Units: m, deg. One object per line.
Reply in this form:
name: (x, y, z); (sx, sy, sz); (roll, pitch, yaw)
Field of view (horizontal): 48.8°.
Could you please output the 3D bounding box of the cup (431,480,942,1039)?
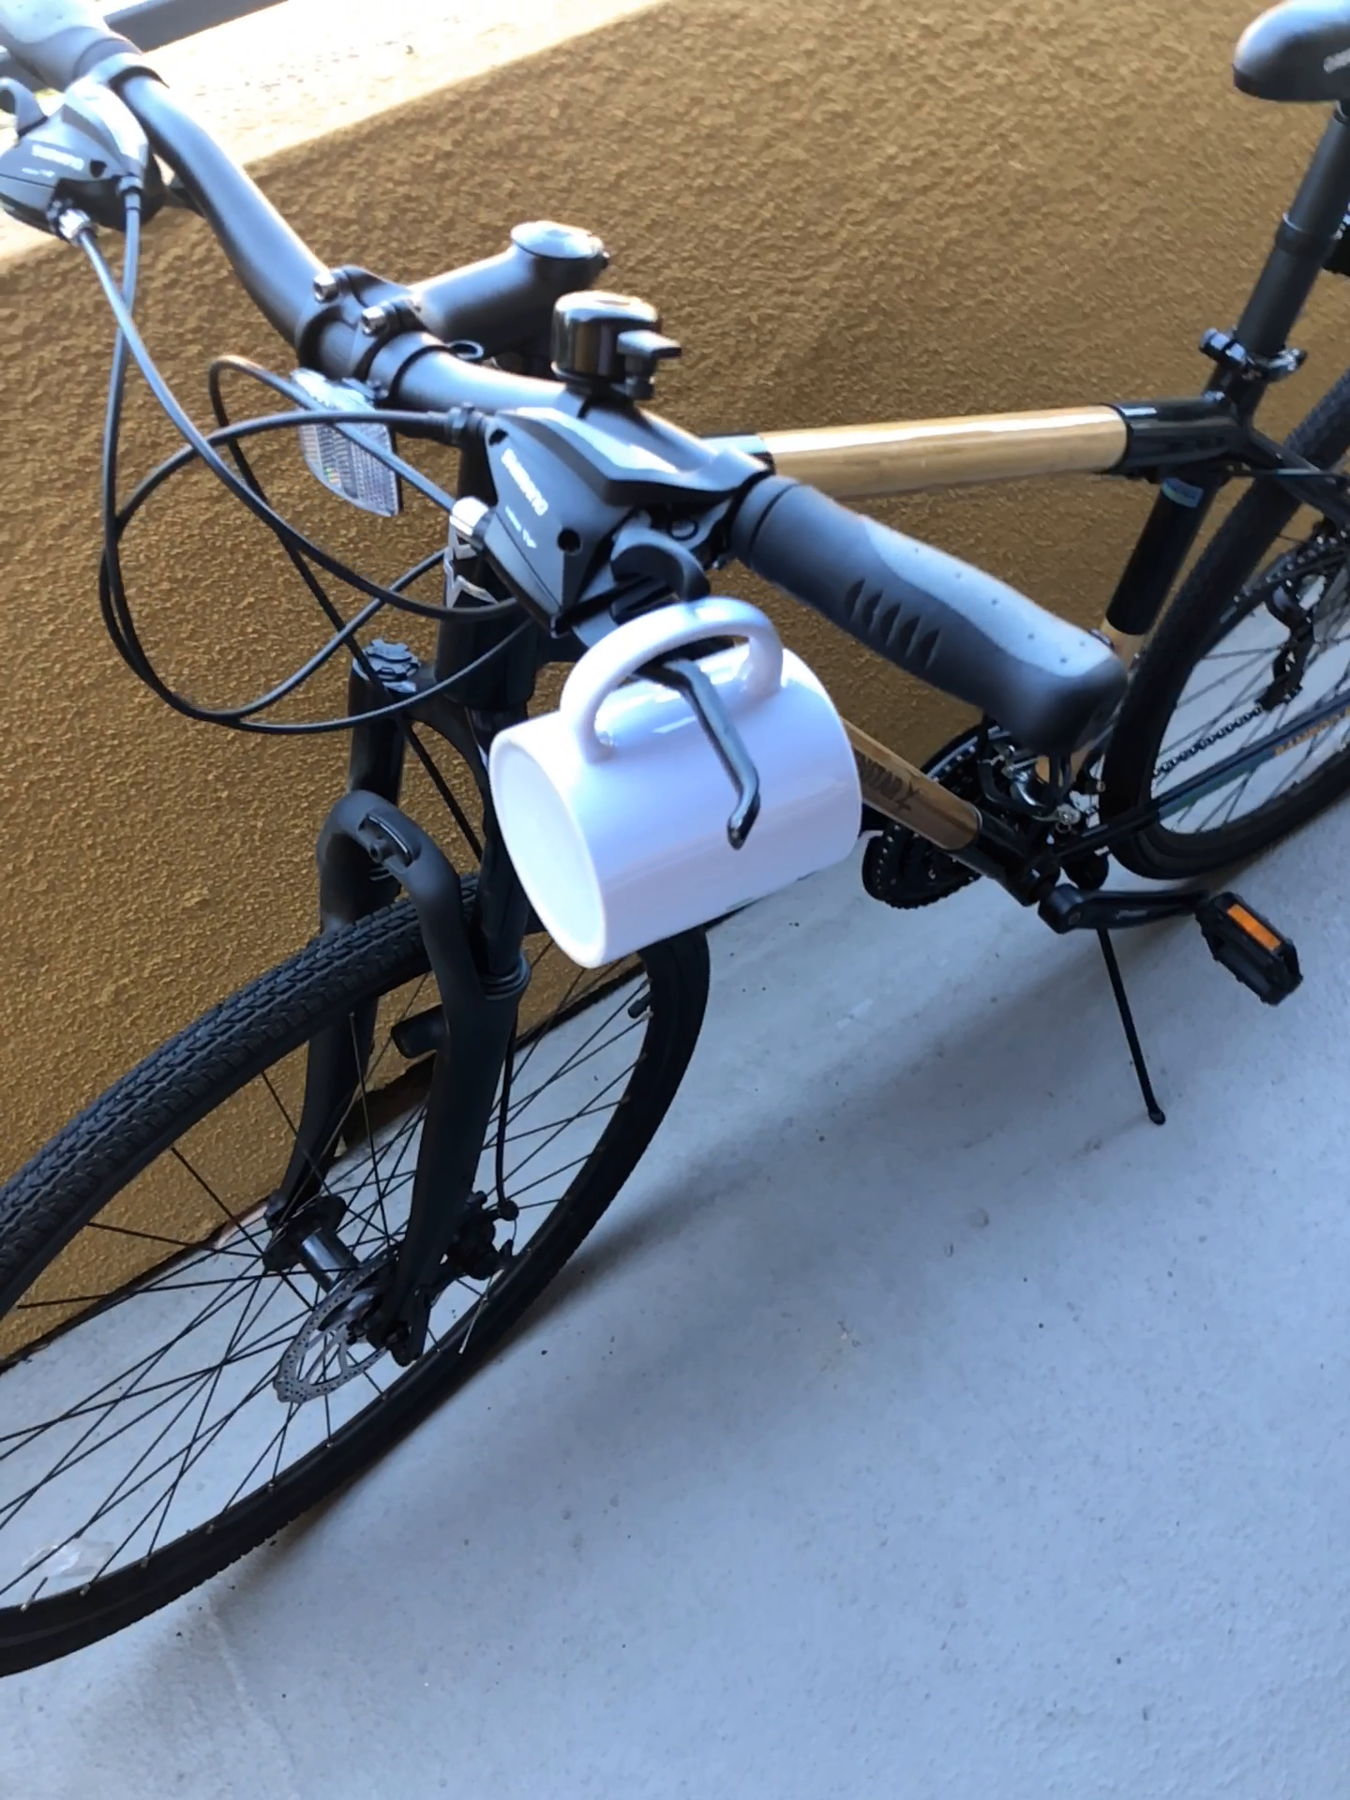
cup: (0.001, -0.043, 0.478); (0.120, 0.120, 0.090); (-21, 58, -15)
